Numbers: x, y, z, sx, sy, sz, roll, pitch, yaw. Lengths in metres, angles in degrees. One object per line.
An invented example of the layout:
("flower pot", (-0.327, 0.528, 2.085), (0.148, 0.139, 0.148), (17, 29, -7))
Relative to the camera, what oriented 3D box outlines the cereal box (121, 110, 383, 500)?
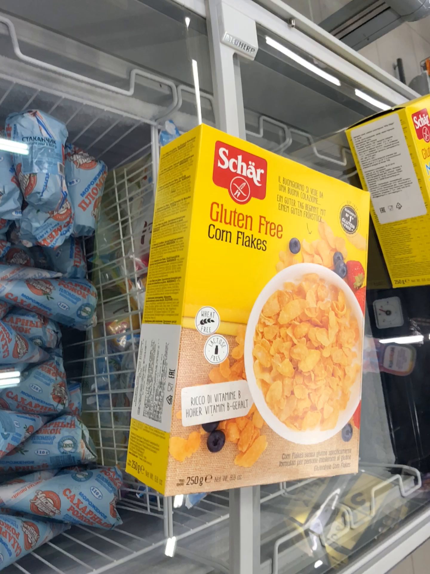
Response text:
("cereal box", (0.044, 0.022, 0.405), (0.201, 0.080, 0.260), (11, 80, -36))
